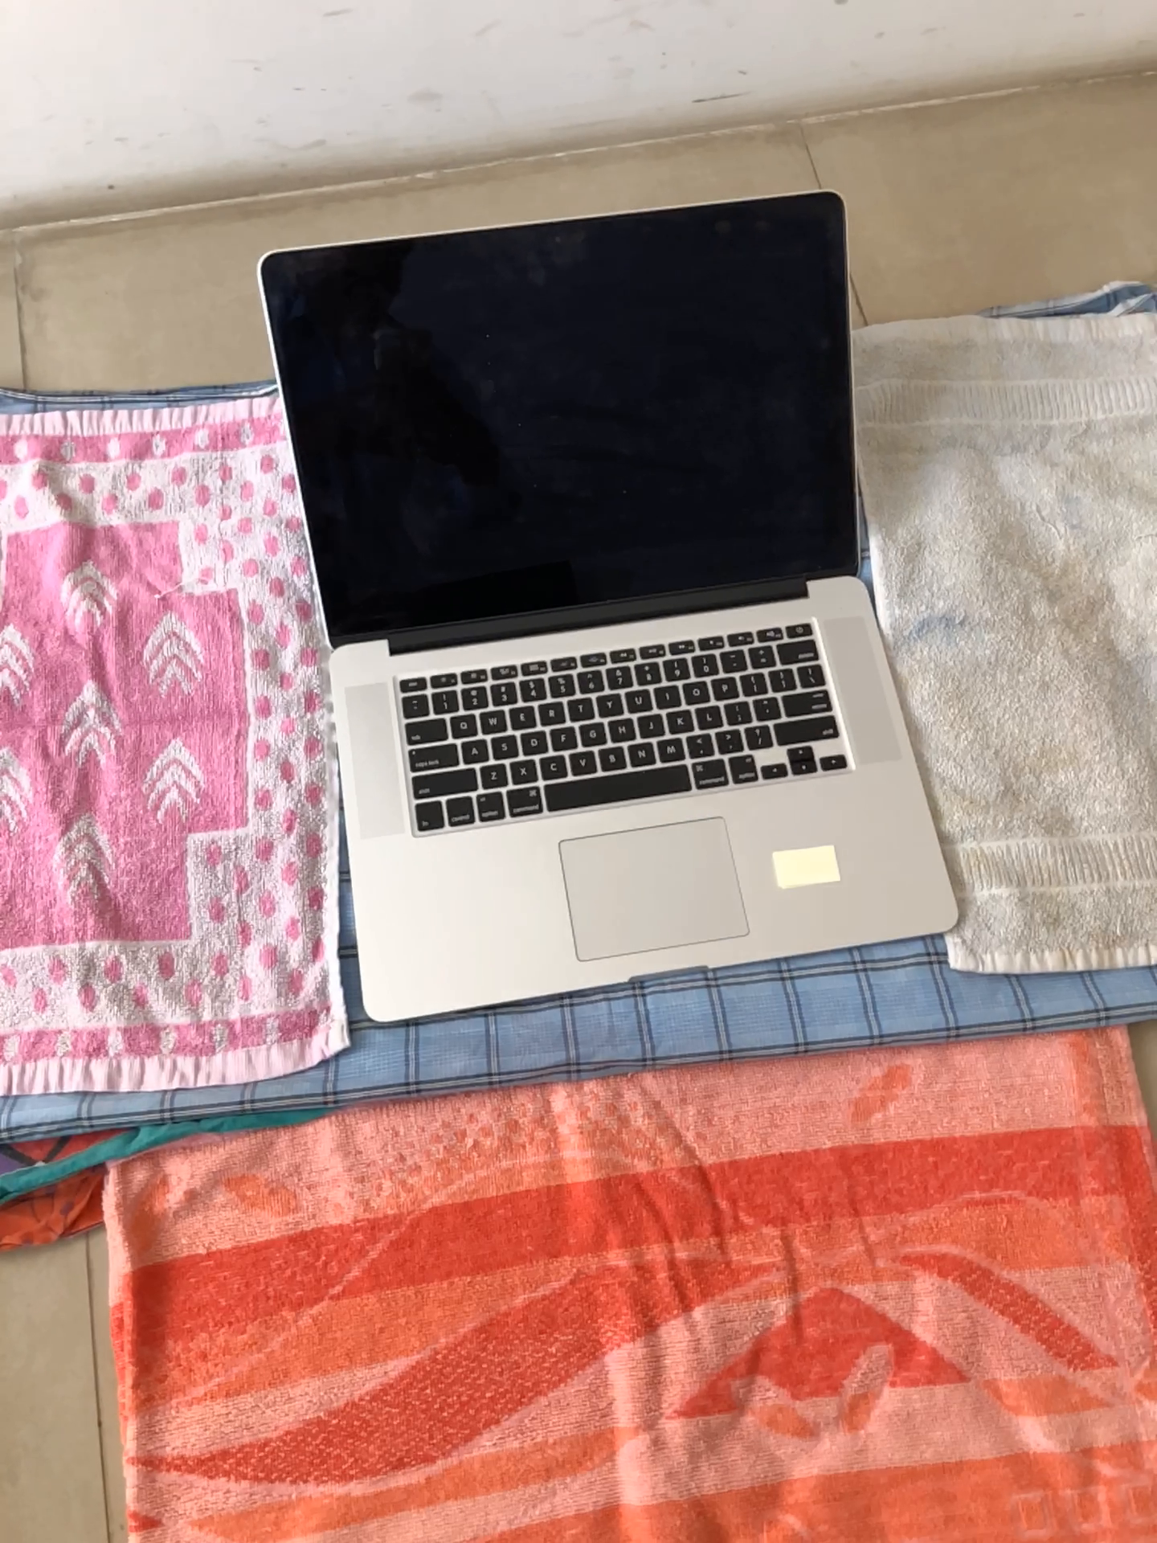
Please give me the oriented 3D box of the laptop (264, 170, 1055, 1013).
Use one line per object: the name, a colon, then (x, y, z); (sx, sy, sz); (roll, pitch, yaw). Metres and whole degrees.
laptop: (0.021, -0.107, 0.730); (0.343, 0.144, 0.414); (-9, 70, -3)
